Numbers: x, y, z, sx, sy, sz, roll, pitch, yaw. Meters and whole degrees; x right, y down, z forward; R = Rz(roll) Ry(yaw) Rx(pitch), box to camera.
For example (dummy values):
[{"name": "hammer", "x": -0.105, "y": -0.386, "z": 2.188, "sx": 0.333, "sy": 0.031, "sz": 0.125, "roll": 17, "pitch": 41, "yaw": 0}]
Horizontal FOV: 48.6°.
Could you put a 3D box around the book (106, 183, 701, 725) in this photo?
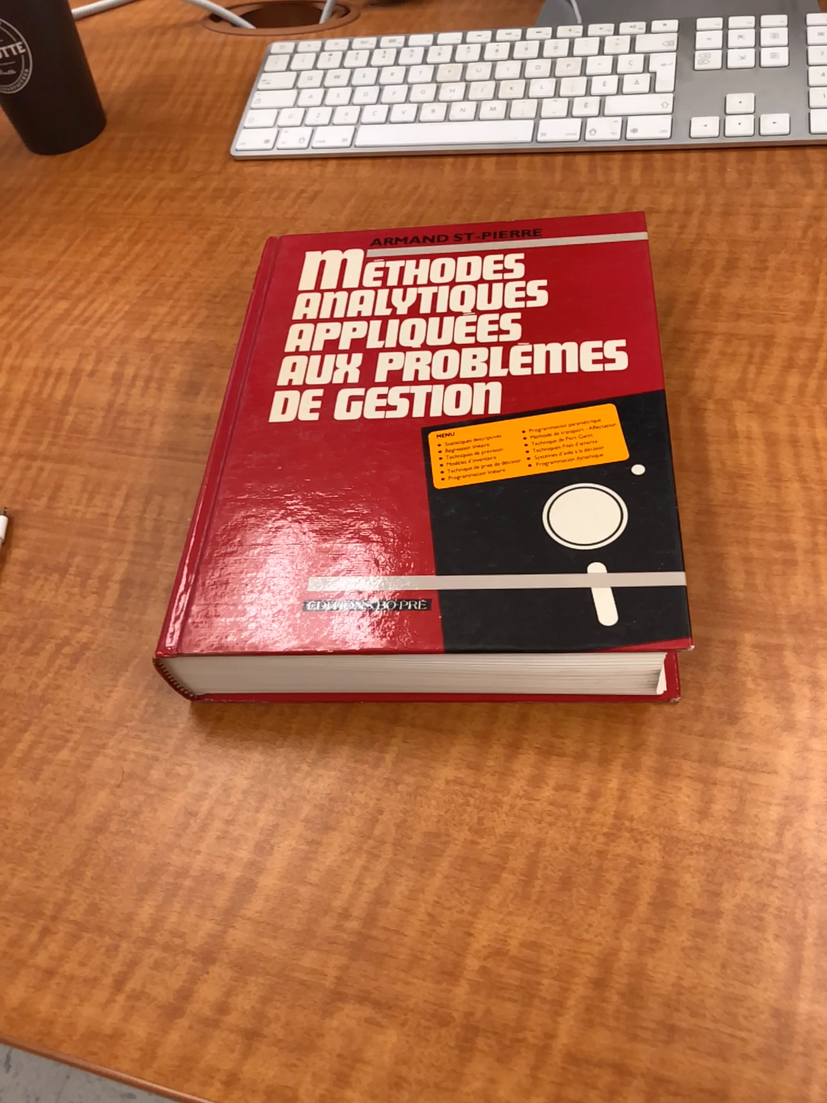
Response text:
[{"name": "book", "x": 0.005, "y": -0.054, "z": 0.394, "sx": 0.200, "sy": 0.050, "sz": 0.251, "roll": -1, "pitch": 55, "yaw": 9}]
